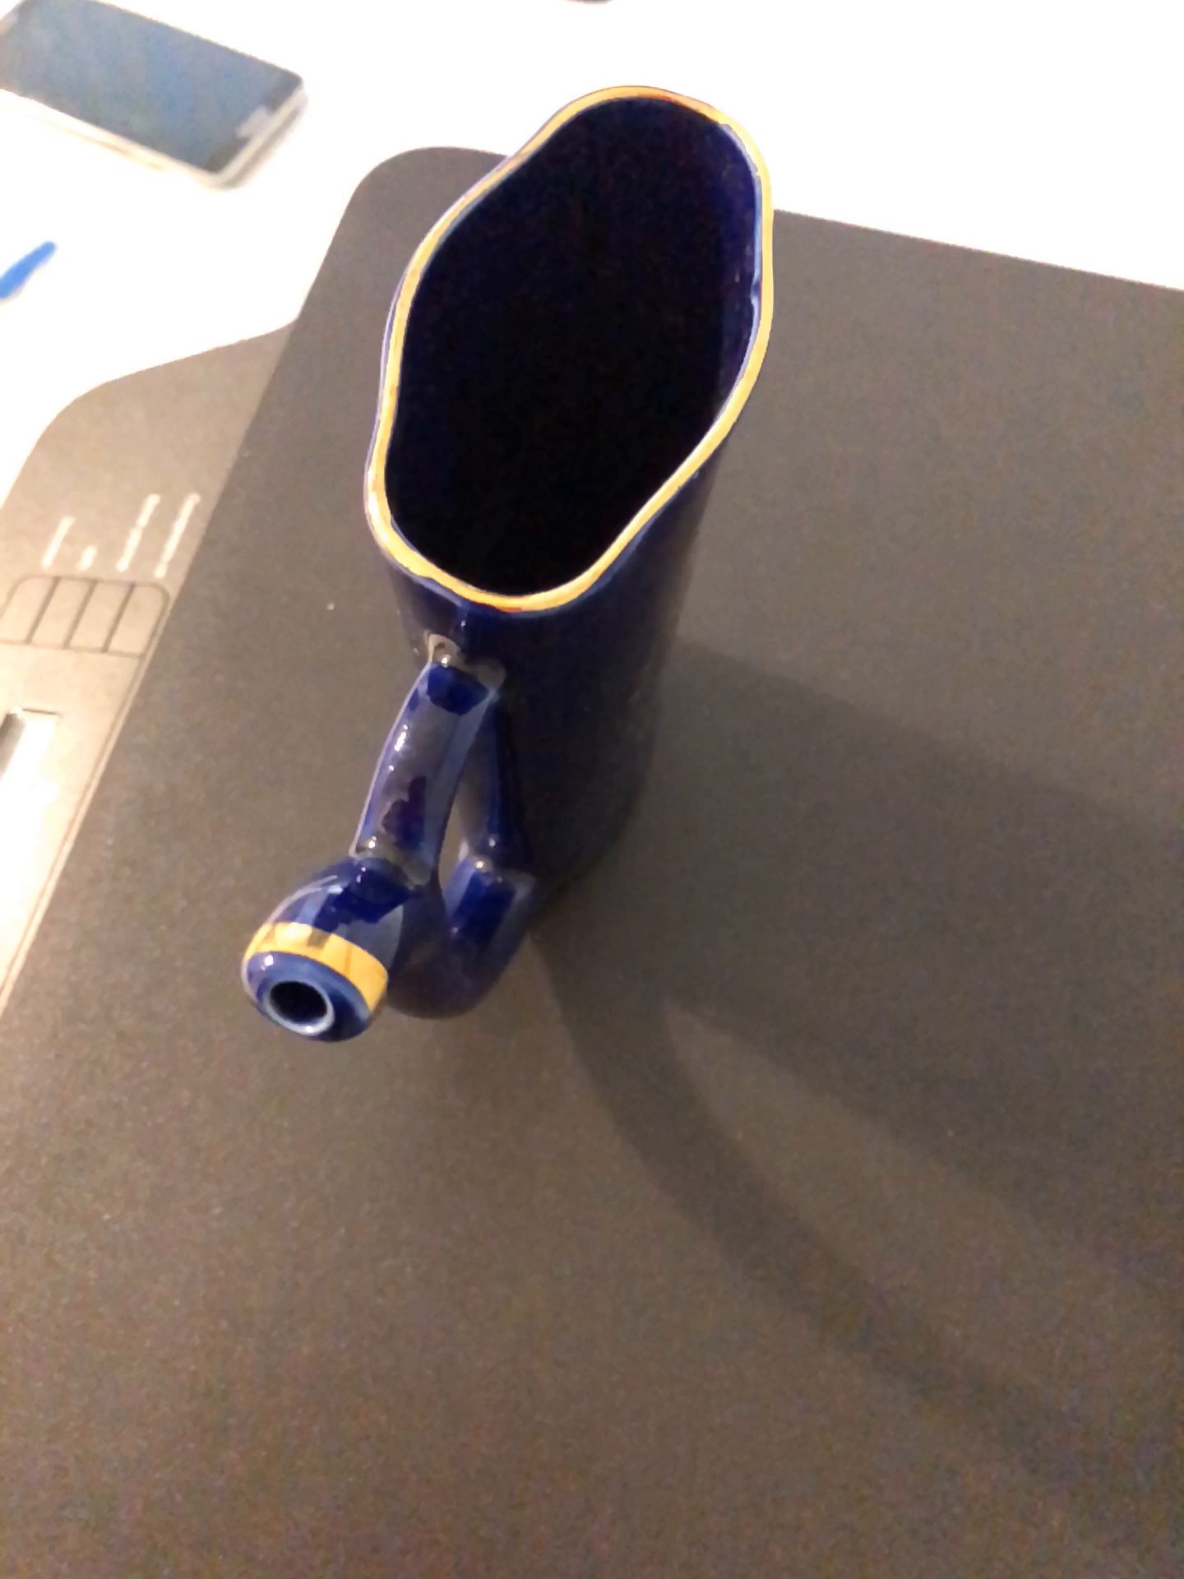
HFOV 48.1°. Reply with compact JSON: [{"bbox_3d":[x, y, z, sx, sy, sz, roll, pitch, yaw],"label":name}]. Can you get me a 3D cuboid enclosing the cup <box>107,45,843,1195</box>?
[{"bbox_3d":[-0.009,-0.017,0.204,0.050,0.110,0.131,14,65,4],"label":"cup"}]
